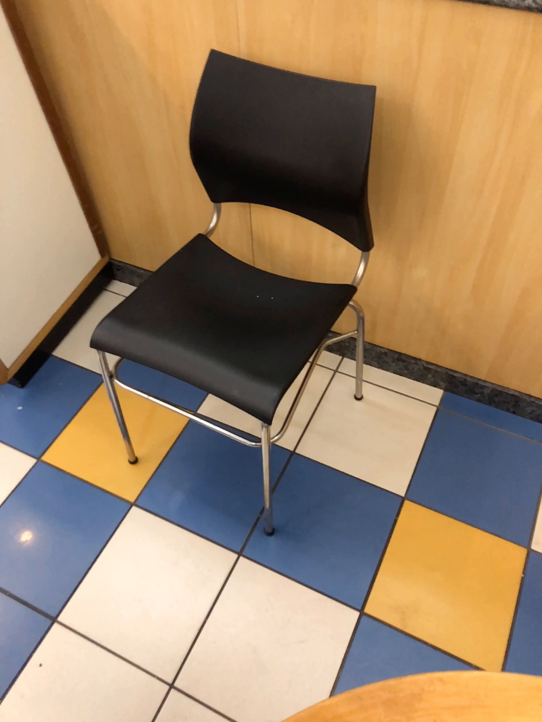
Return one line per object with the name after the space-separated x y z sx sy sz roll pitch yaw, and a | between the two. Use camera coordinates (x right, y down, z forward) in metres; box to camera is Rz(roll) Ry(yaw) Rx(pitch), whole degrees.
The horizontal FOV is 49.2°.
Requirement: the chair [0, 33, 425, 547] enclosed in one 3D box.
-0.071 -0.112 1.315 0.510 0.875 0.553 22 55 19 | chair
